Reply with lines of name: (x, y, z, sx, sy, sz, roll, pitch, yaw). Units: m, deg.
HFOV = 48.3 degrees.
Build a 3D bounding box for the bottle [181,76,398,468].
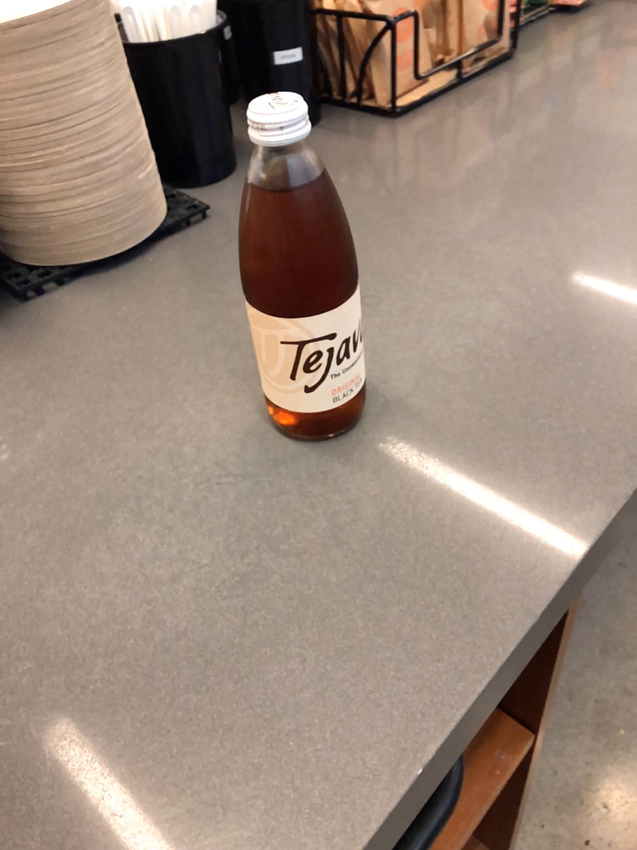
bottle: (-0.007, -0.077, 0.395, 0.070, 0.189, 0.070, -4, 42, 3)
